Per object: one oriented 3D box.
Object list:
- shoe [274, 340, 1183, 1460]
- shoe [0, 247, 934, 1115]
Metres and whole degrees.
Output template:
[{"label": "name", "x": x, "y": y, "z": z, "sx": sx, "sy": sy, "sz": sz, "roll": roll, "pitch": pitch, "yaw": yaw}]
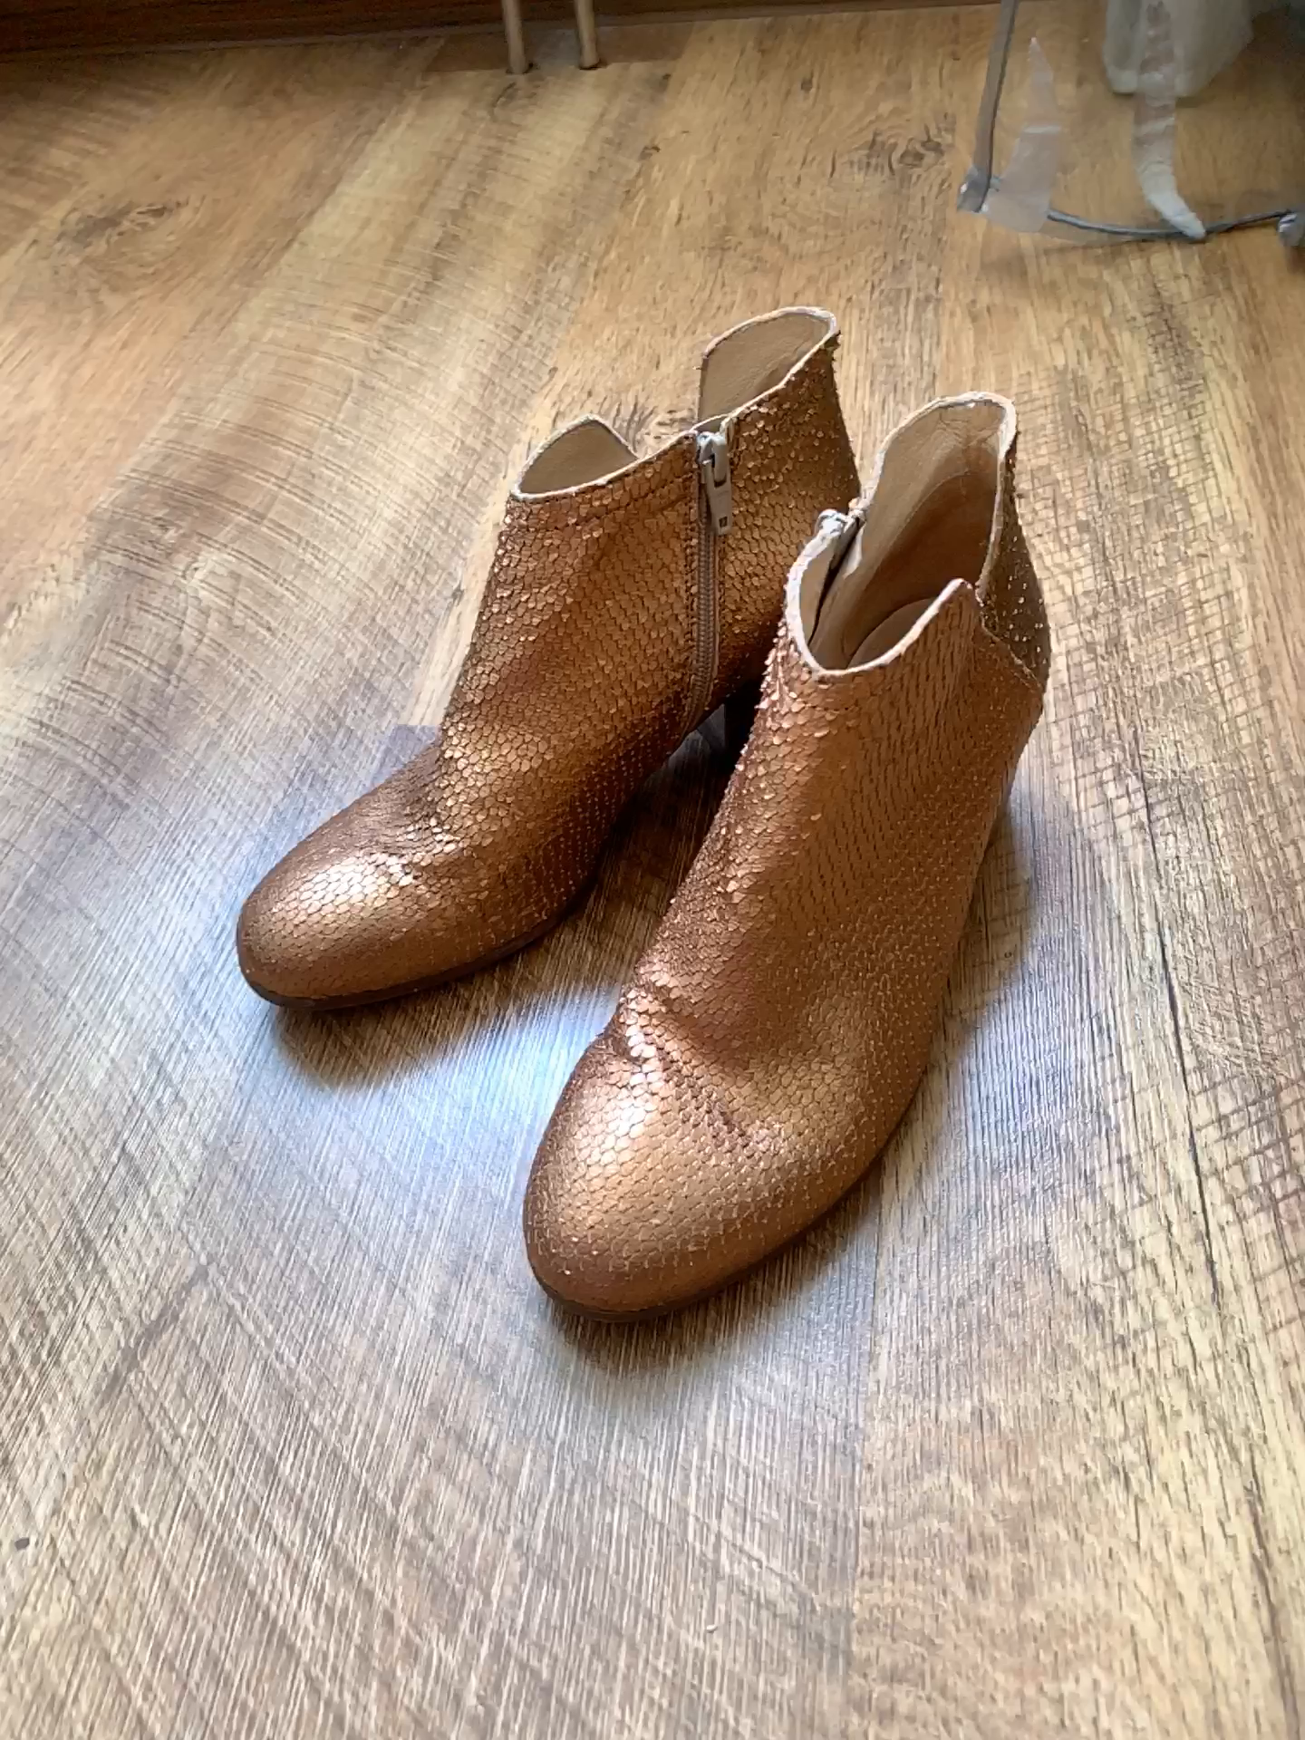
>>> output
[{"label": "shoe", "x": 0.035, "y": -0.004, "z": 0.314, "sx": 0.080, "sy": 0.129, "sz": 0.220, "roll": 22, "pitch": 55, "yaw": 25}, {"label": "shoe", "x": -0.038, "y": -0.055, "z": 0.363, "sx": 0.220, "sy": 0.129, "sz": 0.080, "roll": -30, "pitch": 51, "yaw": -18}]
